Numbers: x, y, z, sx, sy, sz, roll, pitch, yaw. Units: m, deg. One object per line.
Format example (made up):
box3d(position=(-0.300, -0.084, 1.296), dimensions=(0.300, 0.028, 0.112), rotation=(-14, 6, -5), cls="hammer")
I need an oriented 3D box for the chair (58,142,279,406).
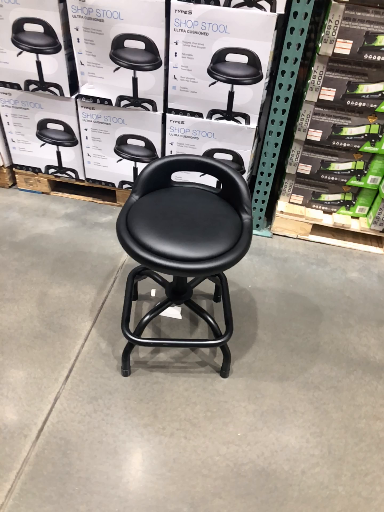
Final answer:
box3d(position=(-0.050, 0.057, 1.430), dimensions=(0.519, 0.627, 0.504), rotation=(13, 42, 8), cls="chair")
